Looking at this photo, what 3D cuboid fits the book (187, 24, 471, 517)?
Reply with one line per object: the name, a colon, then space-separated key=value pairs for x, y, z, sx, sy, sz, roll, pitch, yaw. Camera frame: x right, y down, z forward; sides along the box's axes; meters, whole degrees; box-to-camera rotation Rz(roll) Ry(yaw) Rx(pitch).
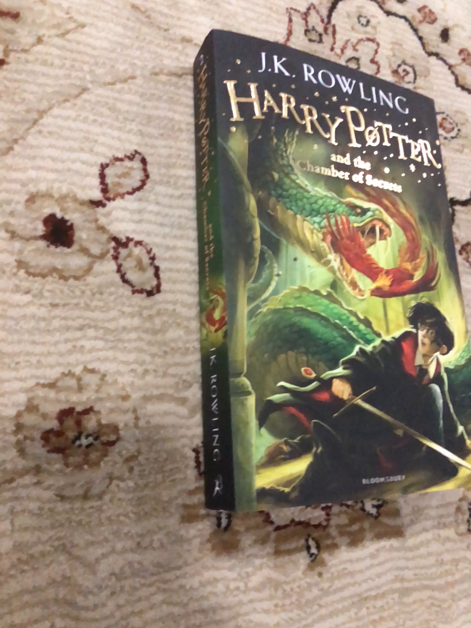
book: x=0.048 y=-0.021 z=0.241 sx=0.131 sy=0.030 sz=0.200 roll=4 pitch=73 yaw=-25
